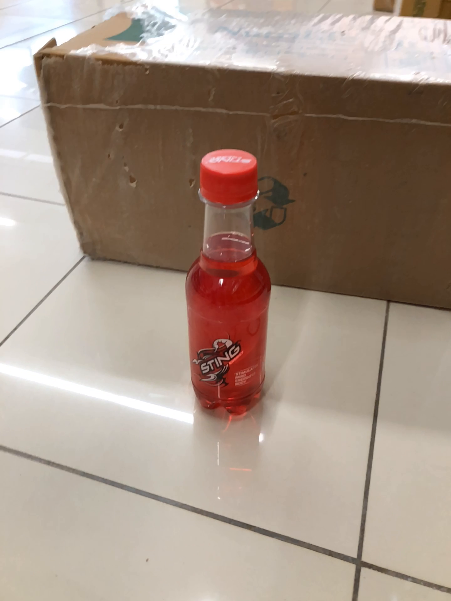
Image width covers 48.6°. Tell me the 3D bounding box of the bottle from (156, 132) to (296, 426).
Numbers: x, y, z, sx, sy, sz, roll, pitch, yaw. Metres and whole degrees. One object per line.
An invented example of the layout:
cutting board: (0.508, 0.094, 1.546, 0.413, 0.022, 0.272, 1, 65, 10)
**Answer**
bottle: (0.002, -0.006, 0.322, 0.060, 0.179, 0.060, 0, 38, 0)
